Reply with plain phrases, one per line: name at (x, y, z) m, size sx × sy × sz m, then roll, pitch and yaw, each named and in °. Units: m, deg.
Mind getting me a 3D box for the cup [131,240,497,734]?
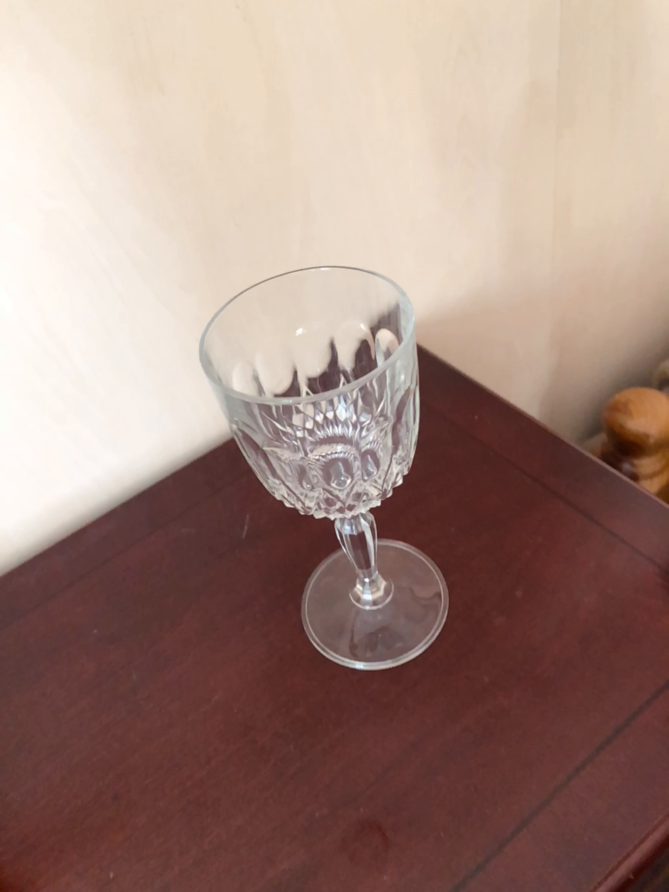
cup at (0.002, 0.024, 0.327) m, size 0.096 × 0.178 × 0.092 m, roll -7°, pitch 45°, yaw 7°
